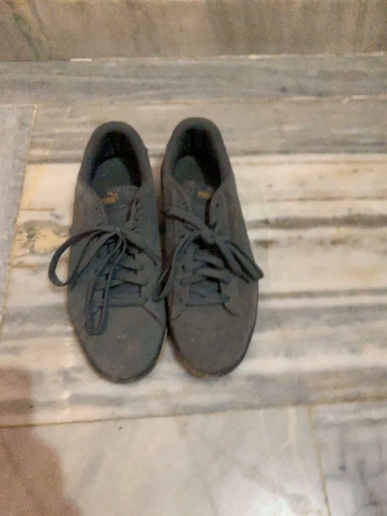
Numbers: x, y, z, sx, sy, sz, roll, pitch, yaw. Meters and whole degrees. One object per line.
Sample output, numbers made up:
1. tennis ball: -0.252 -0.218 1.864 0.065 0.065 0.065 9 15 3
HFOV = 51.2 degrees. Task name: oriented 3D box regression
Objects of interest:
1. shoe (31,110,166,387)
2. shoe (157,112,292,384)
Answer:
1. shoe: -0.091 -0.019 0.447 0.110 0.100 0.290 -2 63 -3
2. shoe: 0.019 -0.019 0.455 0.110 0.100 0.290 -2 63 -3
